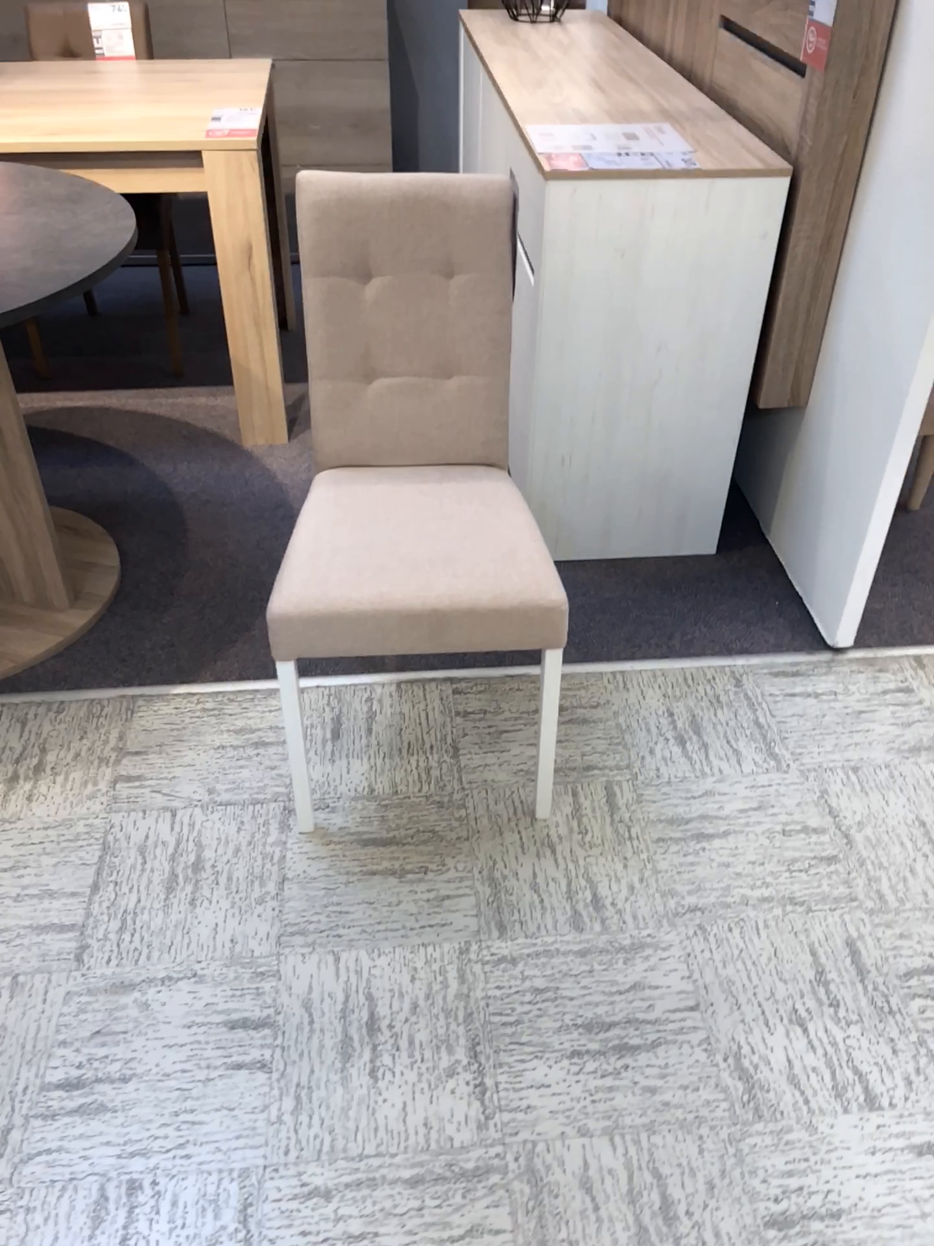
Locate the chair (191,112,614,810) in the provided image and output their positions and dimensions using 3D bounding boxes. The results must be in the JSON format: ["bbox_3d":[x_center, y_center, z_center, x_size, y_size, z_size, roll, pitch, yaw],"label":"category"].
[{"bbox_3d":[-0.086,-0.227,1.510,0.430,0.855,0.533,-2,38,-4],"label":"chair"}]
